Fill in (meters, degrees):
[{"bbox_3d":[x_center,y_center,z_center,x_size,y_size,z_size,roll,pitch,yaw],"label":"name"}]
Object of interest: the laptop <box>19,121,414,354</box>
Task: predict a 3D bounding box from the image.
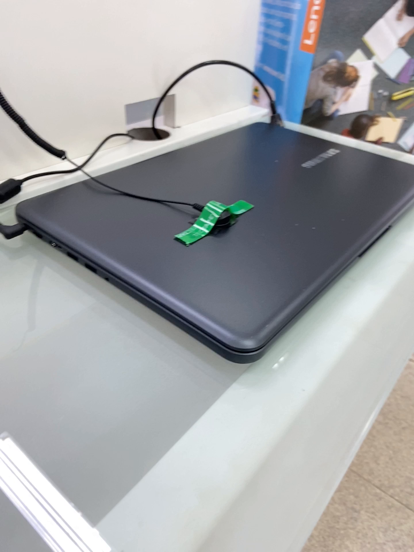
[{"bbox_3d":[0.048,-0.082,0.405,0.232,0.001,0.352,28,42,28],"label":"laptop"}]
